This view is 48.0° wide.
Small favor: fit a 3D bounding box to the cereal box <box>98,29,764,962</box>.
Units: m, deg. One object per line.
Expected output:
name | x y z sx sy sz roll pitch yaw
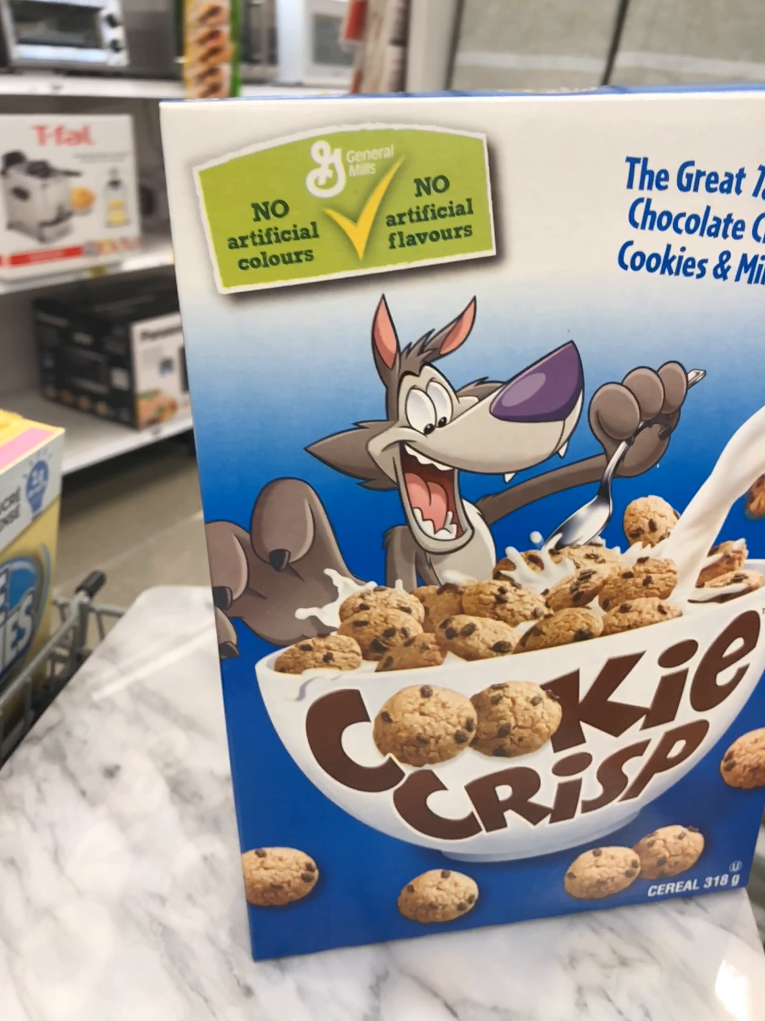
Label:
cereal box | 0.043 0.006 0.268 0.210 0.269 0.050 -5 24 -9
